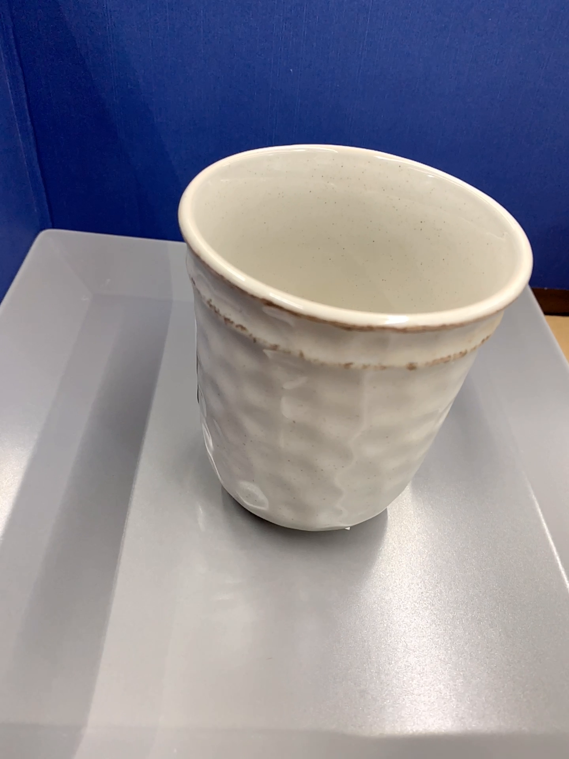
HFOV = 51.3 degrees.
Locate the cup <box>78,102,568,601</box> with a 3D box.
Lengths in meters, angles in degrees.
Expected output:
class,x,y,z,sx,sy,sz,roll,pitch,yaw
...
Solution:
class,x,y,z,sx,sy,sz,roll,pitch,yaw
cup,0.020,-0.022,0.193,0.101,0.082,0.123,19,43,15
